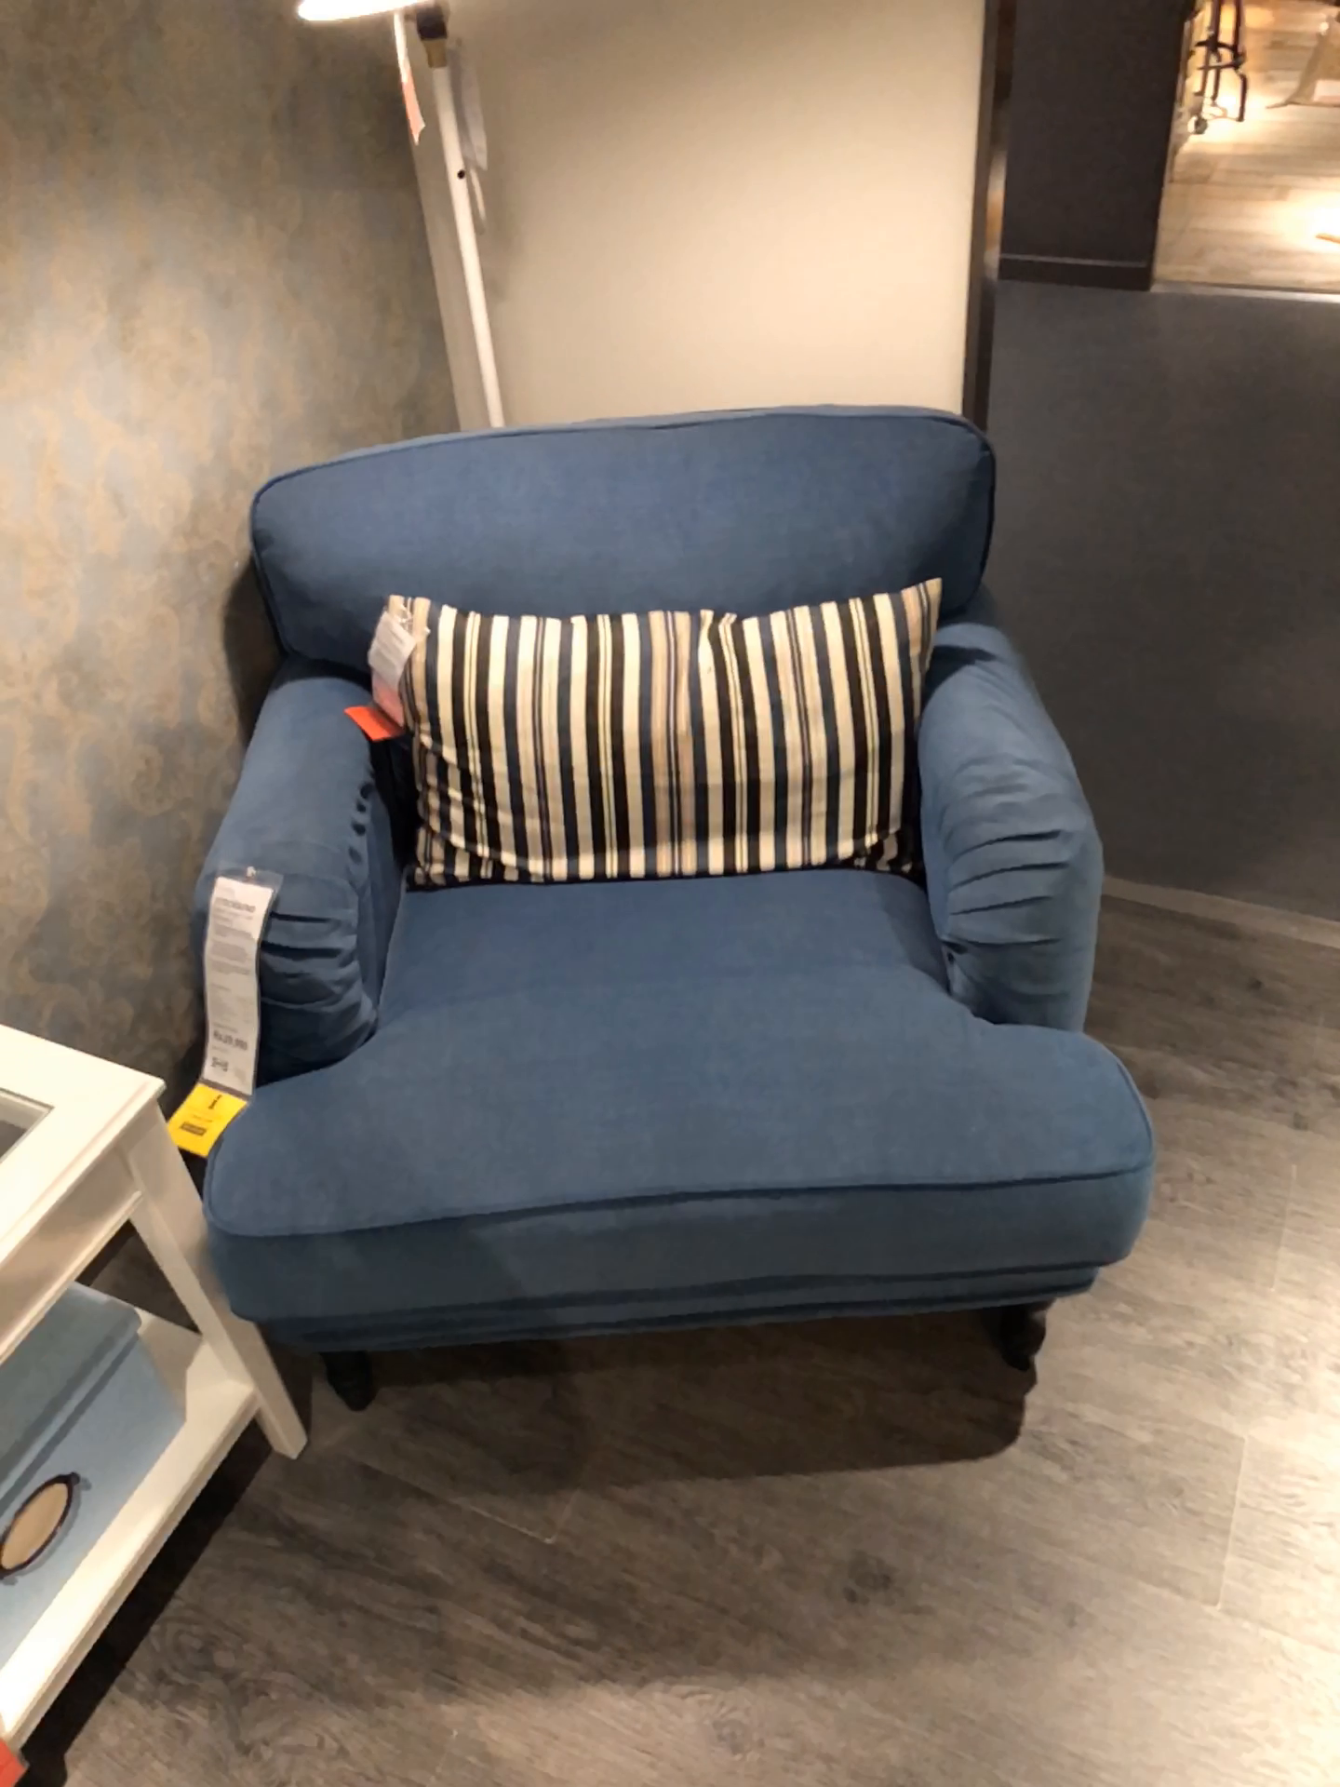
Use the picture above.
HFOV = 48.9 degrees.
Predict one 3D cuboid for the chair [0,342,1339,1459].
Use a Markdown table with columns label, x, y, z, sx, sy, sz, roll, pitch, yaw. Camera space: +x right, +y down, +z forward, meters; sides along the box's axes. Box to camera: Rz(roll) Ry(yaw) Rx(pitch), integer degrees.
| label | x | y | z | sx | sy | sz | roll | pitch | yaw |
| --- | --- | --- | --- | --- | --- | --- | --- | --- | --- |
| chair | 0.006 | -0.020 | 1.474 | 0.890 | 0.695 | 0.806 | -4 | 40 | 1 |
